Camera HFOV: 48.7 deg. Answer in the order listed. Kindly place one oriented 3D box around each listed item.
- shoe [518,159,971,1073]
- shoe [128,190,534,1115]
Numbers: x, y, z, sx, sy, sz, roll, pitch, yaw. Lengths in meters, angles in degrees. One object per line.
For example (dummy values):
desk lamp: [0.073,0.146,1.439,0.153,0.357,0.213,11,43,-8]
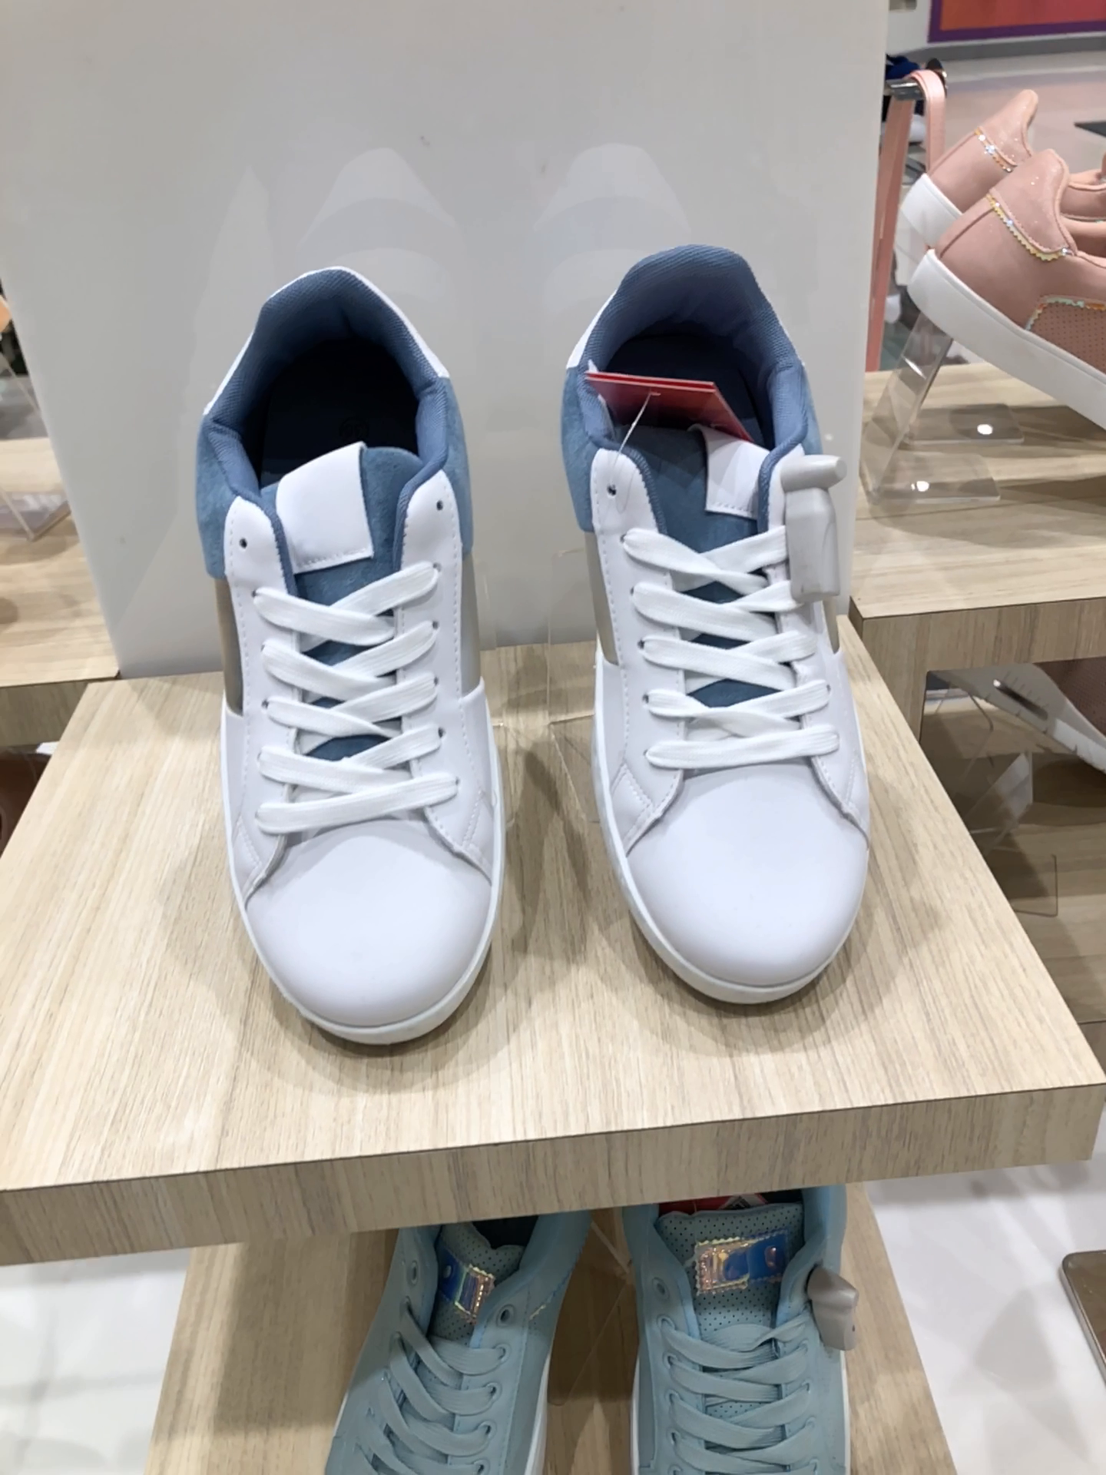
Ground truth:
shoe: [0.051,-0.036,0.404,0.102,0.264,0.103,-5,-9,-1]
shoe: [-0.068,-0.025,0.397,0.092,0.262,0.103,-6,-10,-3]
